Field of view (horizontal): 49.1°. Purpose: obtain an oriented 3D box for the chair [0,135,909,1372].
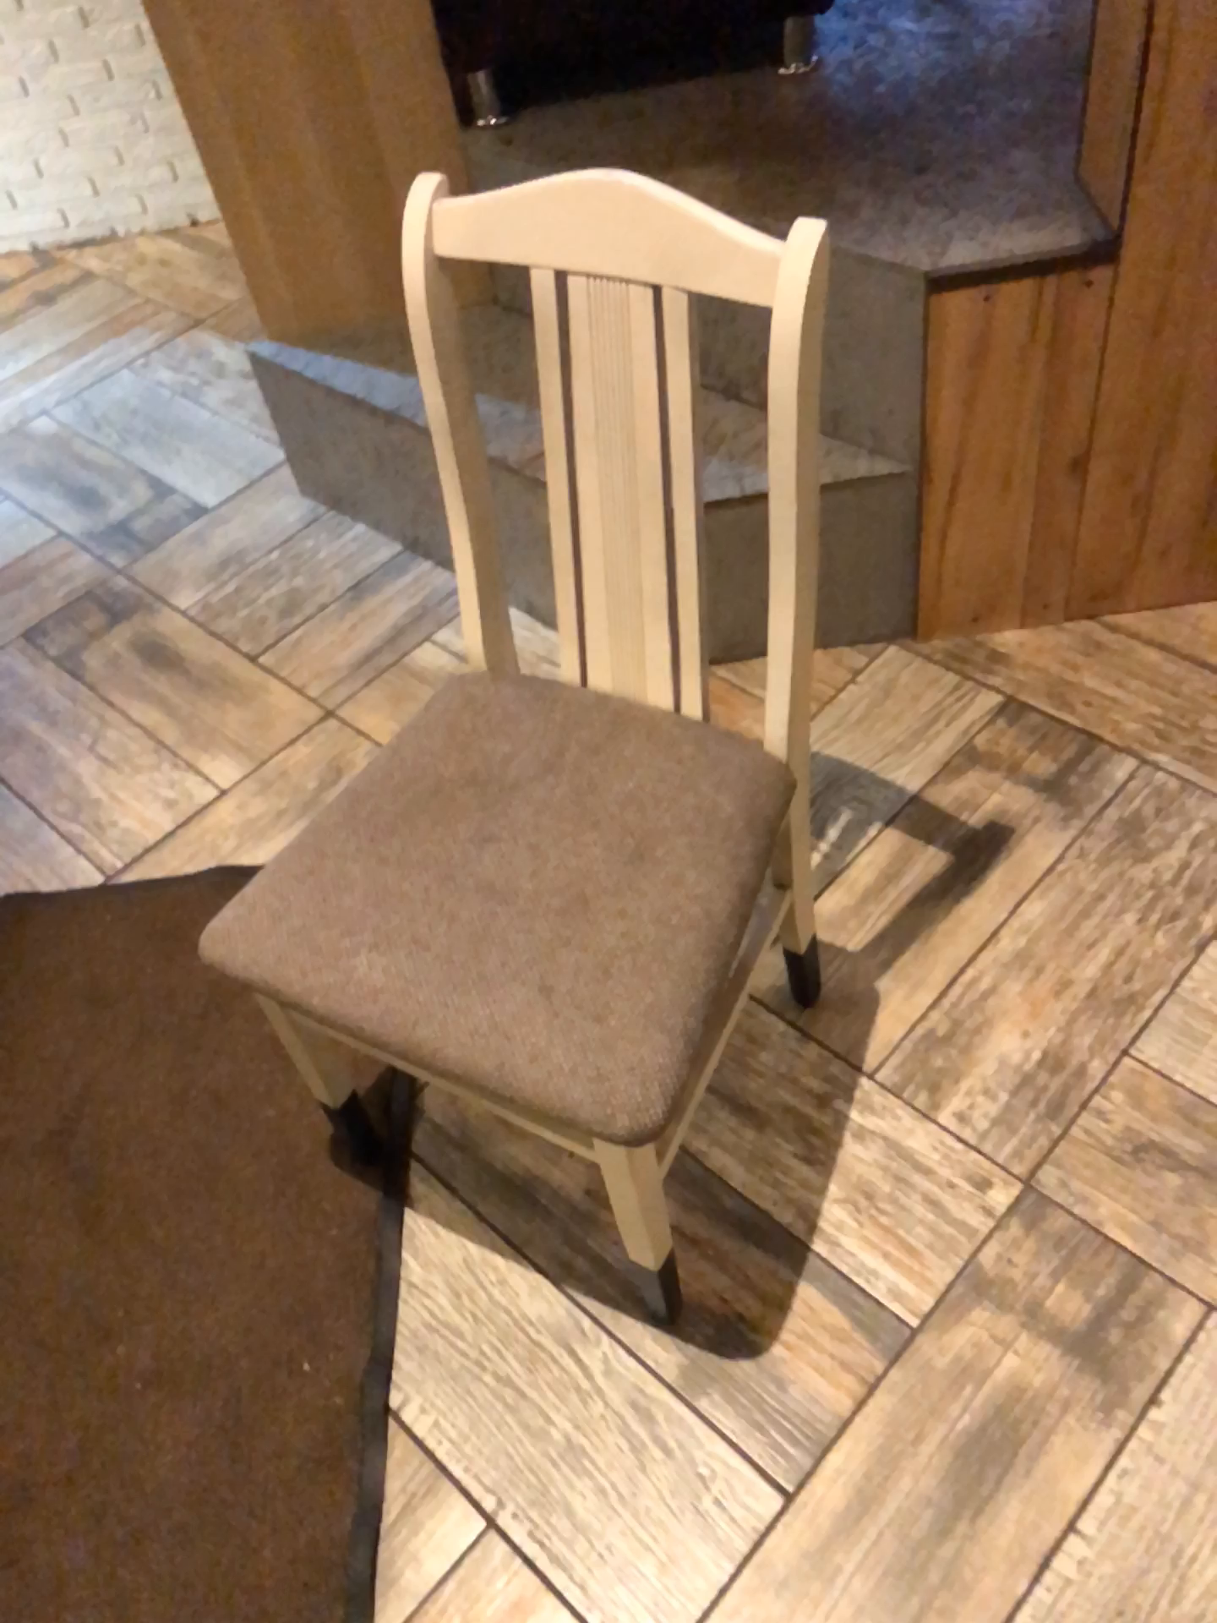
[{"bbox_3d":[-0.069,-0.010,1.205,0.479,0.916,0.521,18,53,24],"label":"chair"}]
